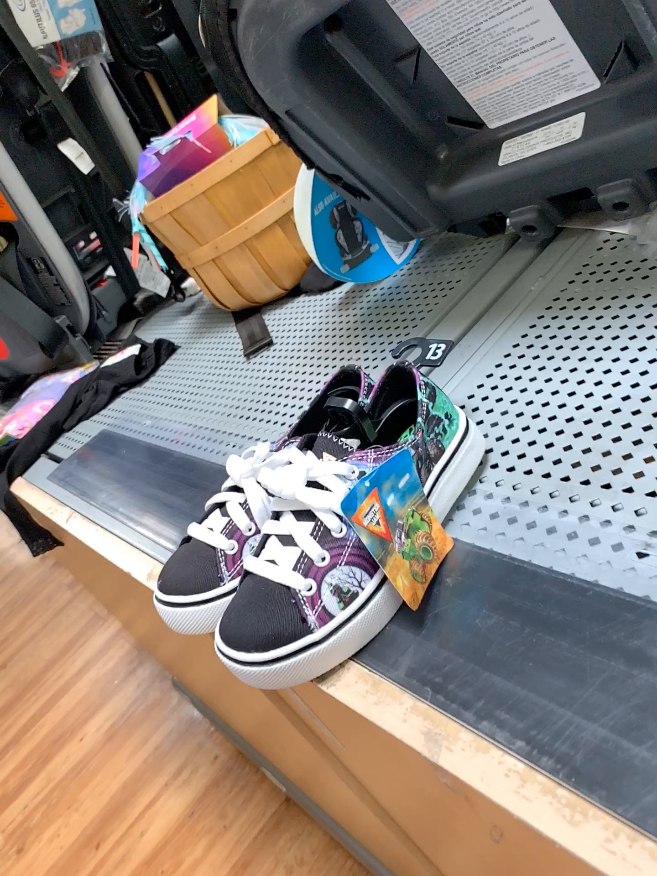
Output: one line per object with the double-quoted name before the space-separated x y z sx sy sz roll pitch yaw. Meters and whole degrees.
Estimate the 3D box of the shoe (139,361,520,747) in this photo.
"shoe" 0.008 0.050 0.394 0.213 0.073 0.090 -47 31 -24

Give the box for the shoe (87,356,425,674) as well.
"shoe" -0.046 0.040 0.460 0.207 0.073 0.092 -43 30 -19
